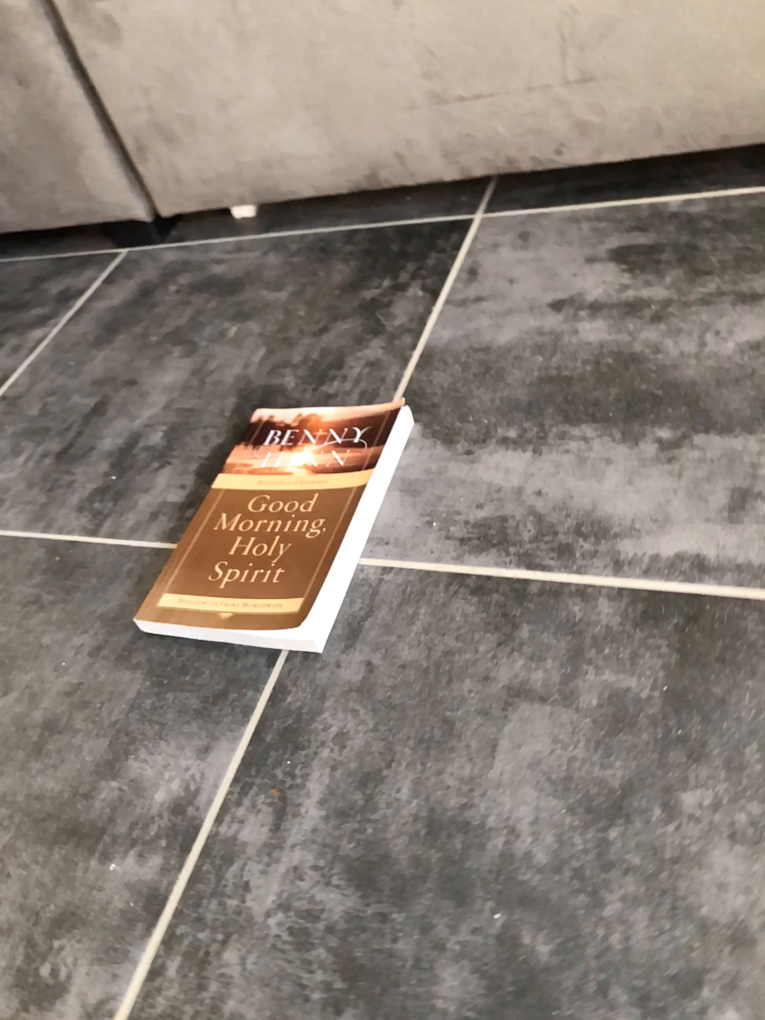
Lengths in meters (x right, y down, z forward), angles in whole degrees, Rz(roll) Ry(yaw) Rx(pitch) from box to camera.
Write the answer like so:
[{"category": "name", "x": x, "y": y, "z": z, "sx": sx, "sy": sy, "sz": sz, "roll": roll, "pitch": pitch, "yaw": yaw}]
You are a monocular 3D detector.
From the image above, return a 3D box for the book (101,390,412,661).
[{"category": "book", "x": -0.082, "y": -0.002, "z": 0.608, "sx": 0.150, "sy": 0.020, "sz": 0.231, "roll": 2, "pitch": 48, "yaw": 23}]
